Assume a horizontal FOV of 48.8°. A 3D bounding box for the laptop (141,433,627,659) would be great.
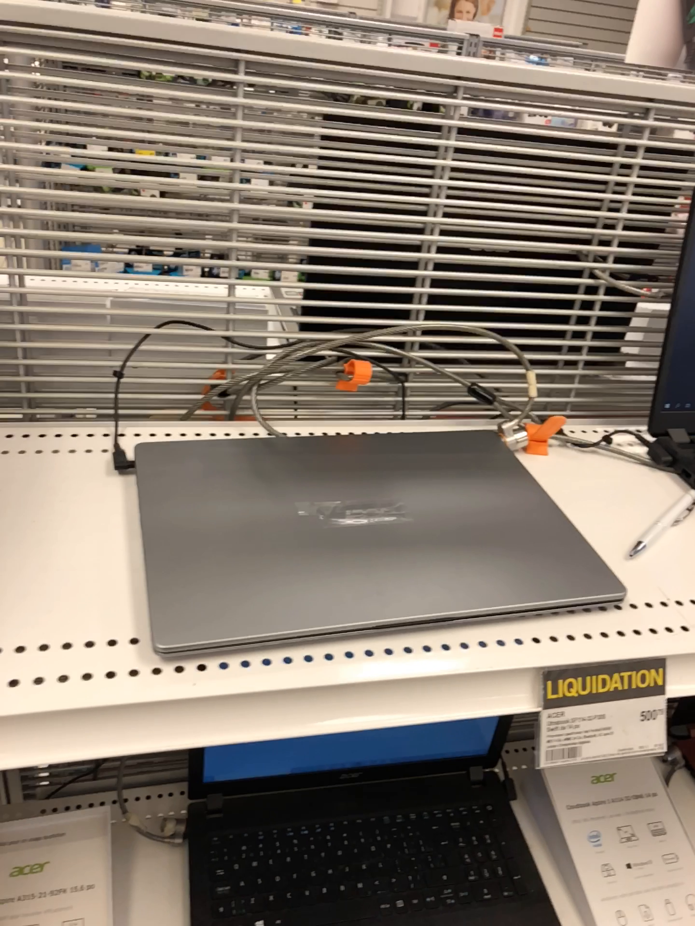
[{"bbox_3d":[0.014,0.043,0.575,0.316,0.006,0.220,-3,34,-17],"label":"laptop"}]
